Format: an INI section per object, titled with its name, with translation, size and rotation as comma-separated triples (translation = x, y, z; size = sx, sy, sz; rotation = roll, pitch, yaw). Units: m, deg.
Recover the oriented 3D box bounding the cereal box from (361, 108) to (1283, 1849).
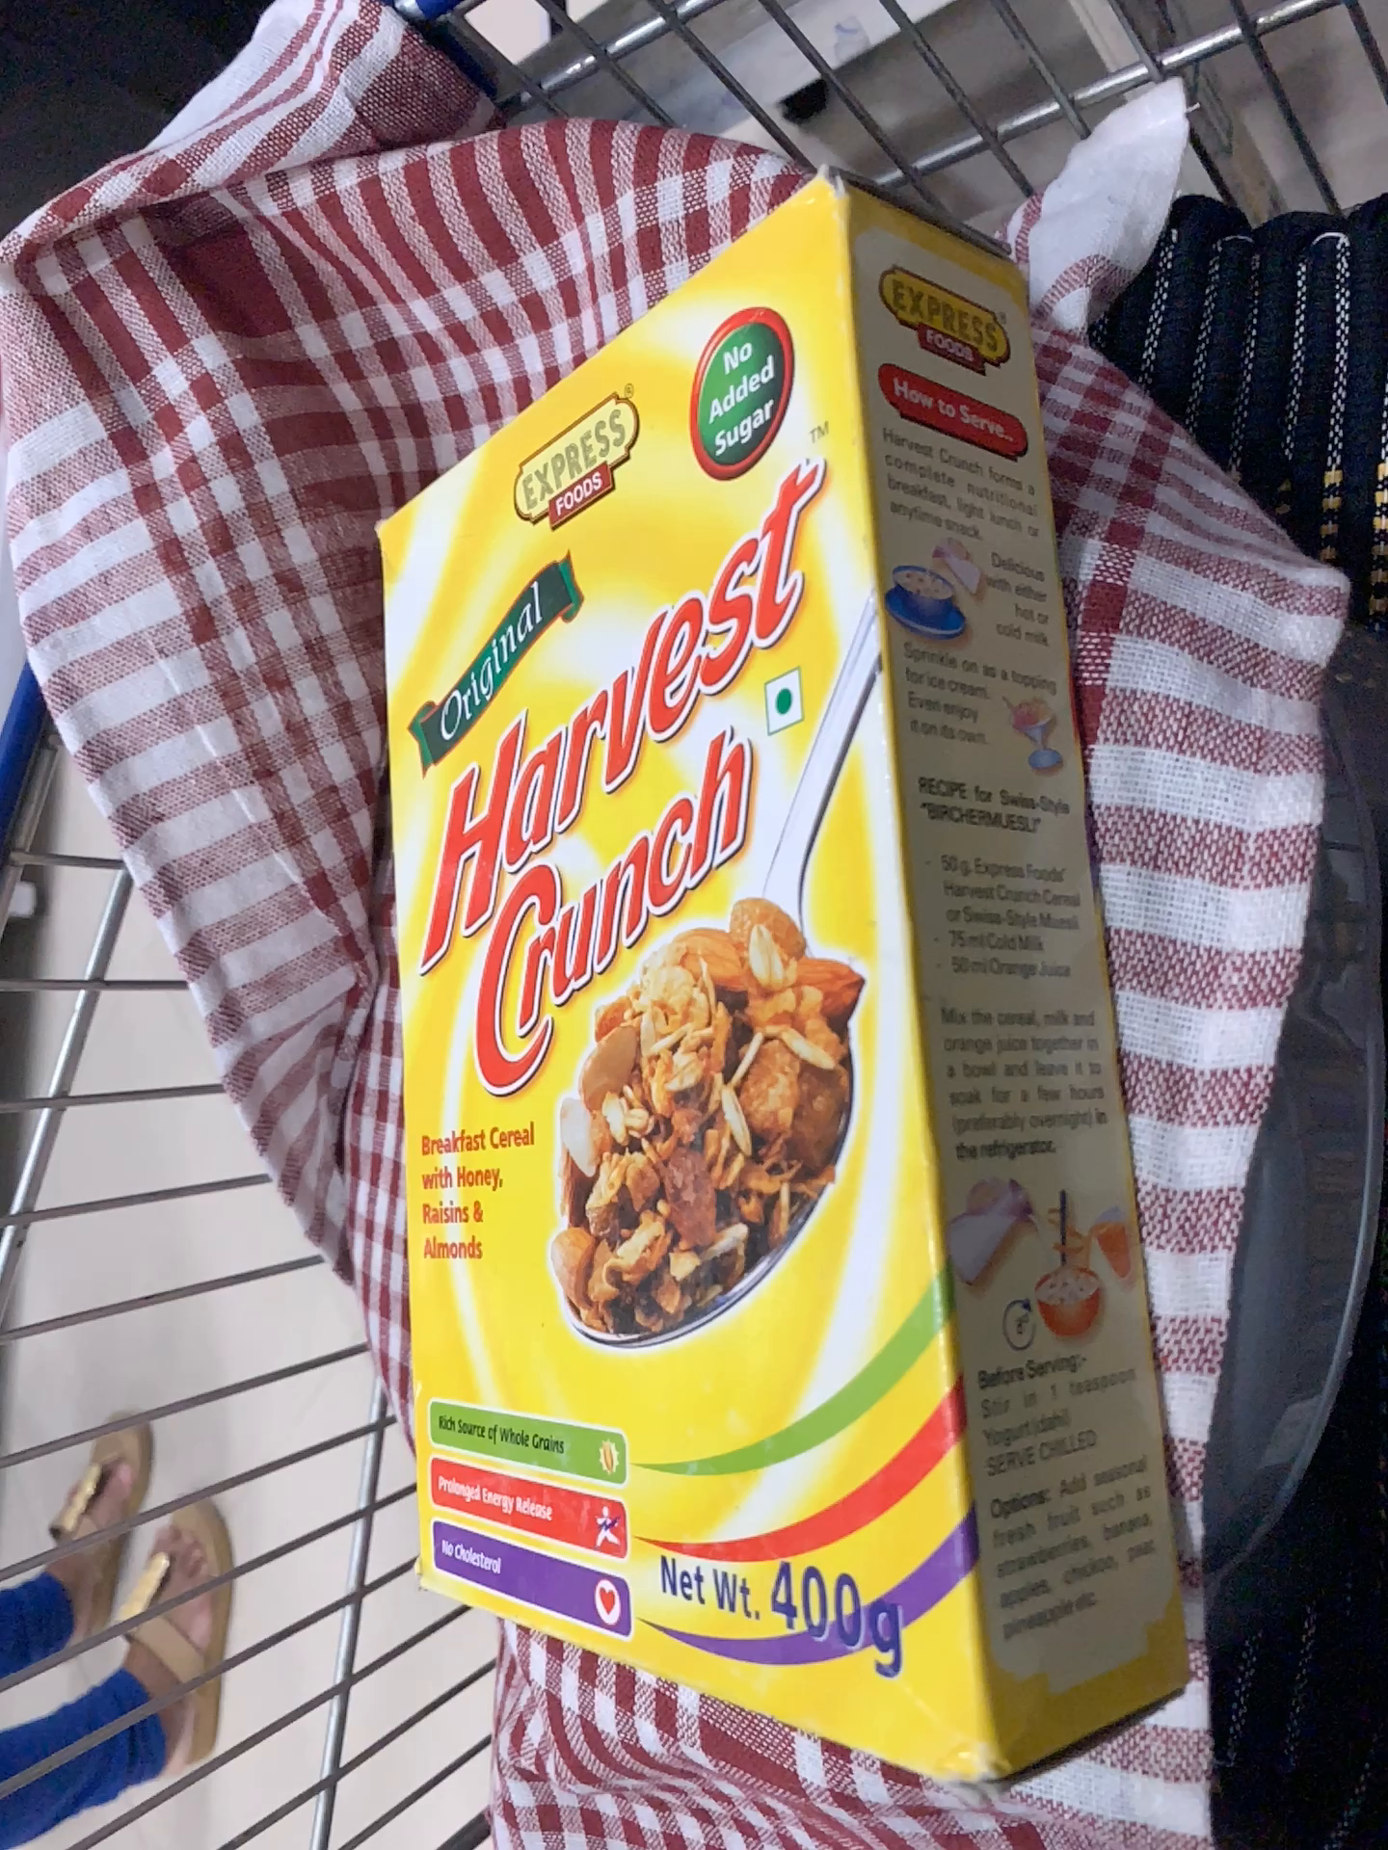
[cereal box]
translation = 0.004, 0.011, 0.252
size = 0.151, 0.050, 0.220
rotation = -14, 78, 51
